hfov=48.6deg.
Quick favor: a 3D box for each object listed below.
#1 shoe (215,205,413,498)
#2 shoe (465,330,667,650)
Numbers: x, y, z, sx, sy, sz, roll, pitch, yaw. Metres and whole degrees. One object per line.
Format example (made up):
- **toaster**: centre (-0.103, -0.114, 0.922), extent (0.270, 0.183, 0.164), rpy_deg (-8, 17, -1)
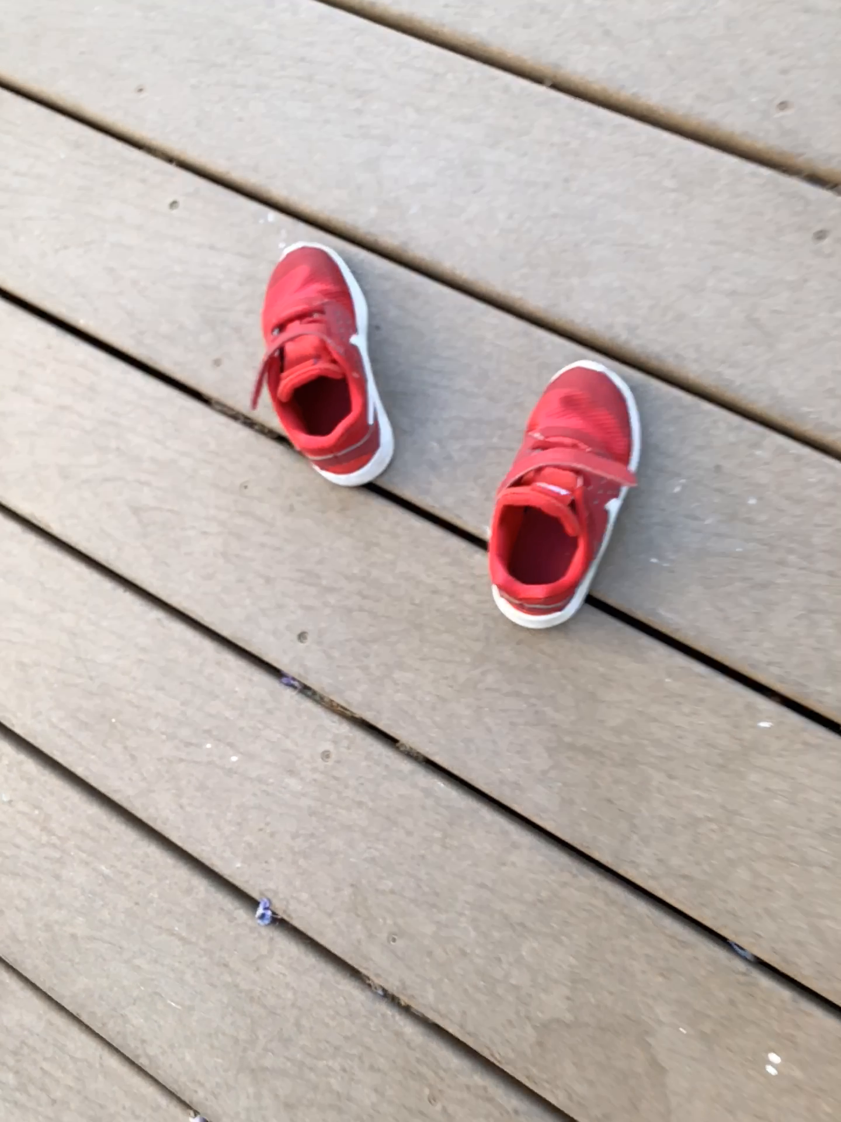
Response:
- **shoe**: centre (-0.066, -0.128, 0.588), extent (0.073, 0.069, 0.153), rpy_deg (-16, 82, 12)
- **shoe**: centre (0.087, -0.038, 0.541), extent (0.069, 0.069, 0.164), rpy_deg (15, 89, 14)
